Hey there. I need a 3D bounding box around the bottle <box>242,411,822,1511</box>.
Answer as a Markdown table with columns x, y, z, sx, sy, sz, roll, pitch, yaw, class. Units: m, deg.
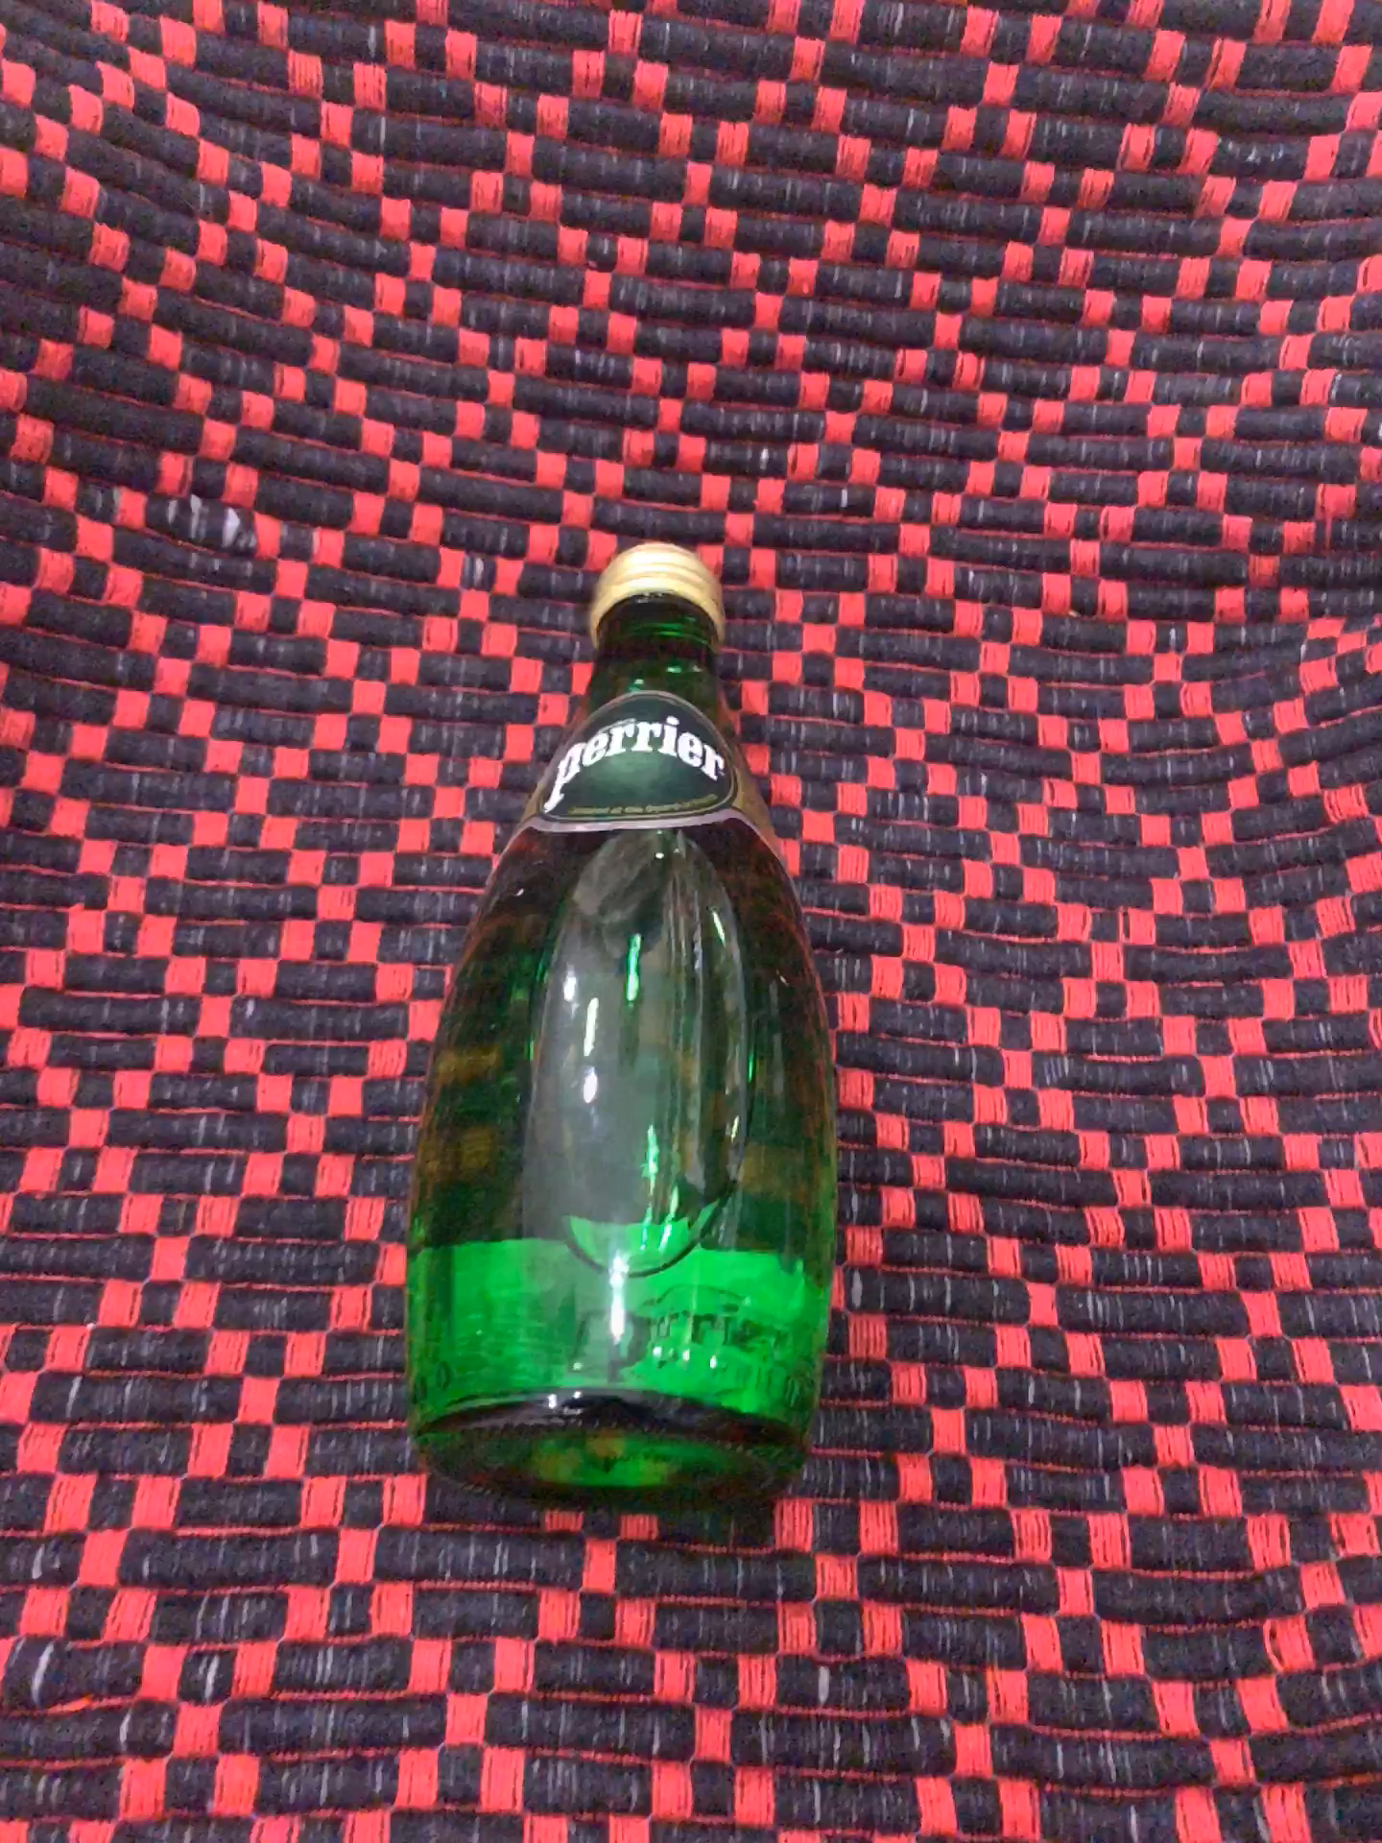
| x | y | z | sx | sy | sz | roll | pitch | yaw | class |
| --- | --- | --- | --- | --- | --- | --- | --- | --- | --- |
| -0.014 | 0.000 | 0.252 | 0.070 | 0.070 | 0.180 | -1 | 57 | 6 | bottle |
